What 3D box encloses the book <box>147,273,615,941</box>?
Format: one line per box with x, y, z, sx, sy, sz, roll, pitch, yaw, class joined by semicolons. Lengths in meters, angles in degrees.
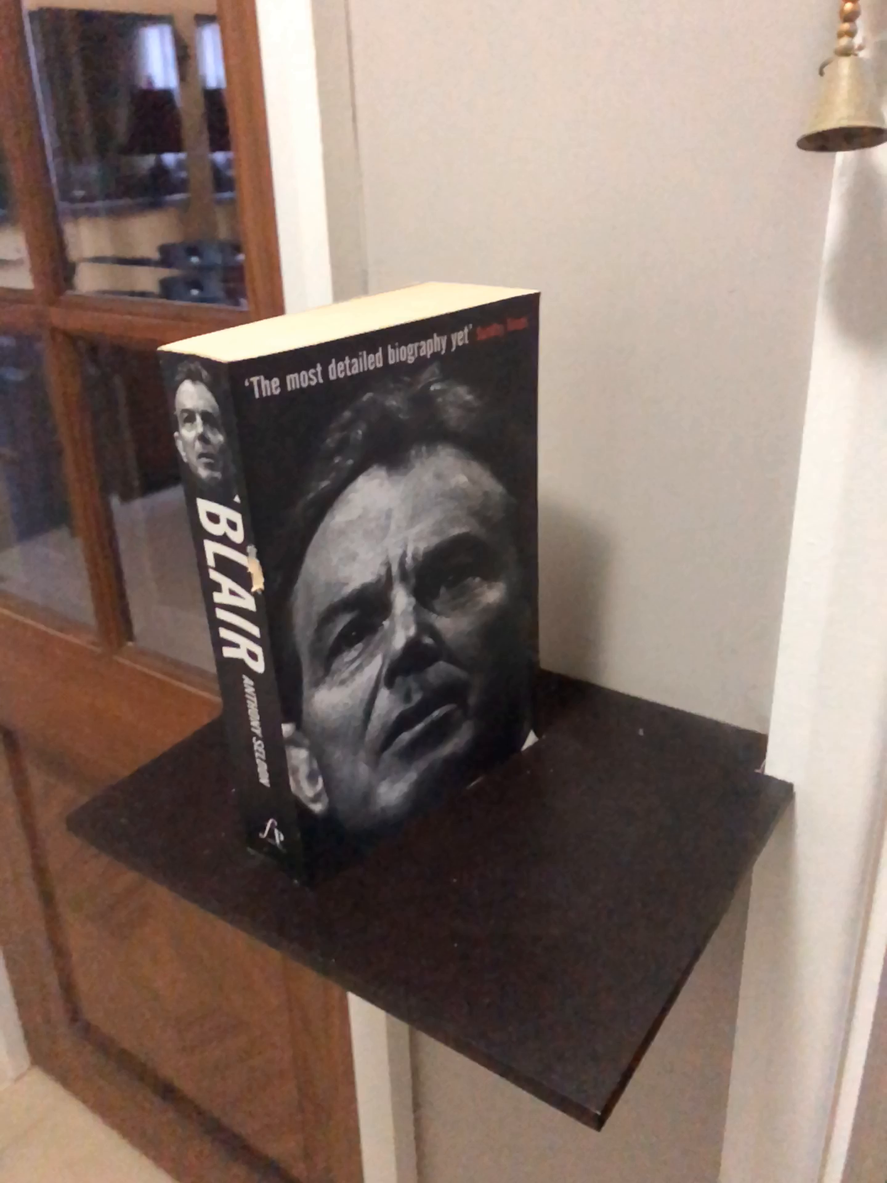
-0.009;-0.006;0.386;0.060;0.209;0.171;19;31;39;book
